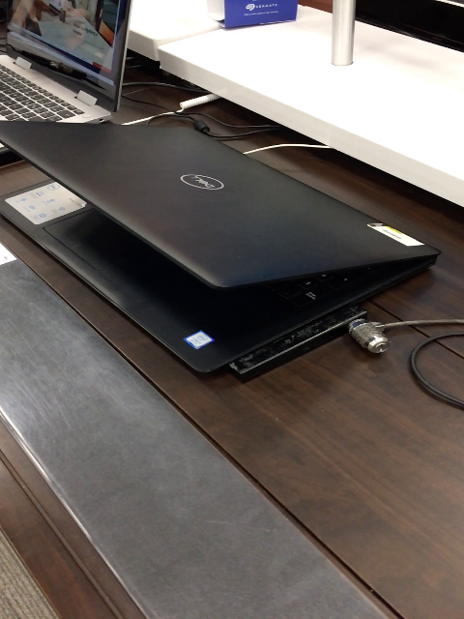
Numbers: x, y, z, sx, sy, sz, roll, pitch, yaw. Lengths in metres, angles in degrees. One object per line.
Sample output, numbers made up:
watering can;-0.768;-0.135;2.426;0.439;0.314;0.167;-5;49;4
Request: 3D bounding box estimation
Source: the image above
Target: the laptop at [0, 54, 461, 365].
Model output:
laptop;-0.039;-0.119;0.595;0.242;0.109;0.350;-34;54;-24
